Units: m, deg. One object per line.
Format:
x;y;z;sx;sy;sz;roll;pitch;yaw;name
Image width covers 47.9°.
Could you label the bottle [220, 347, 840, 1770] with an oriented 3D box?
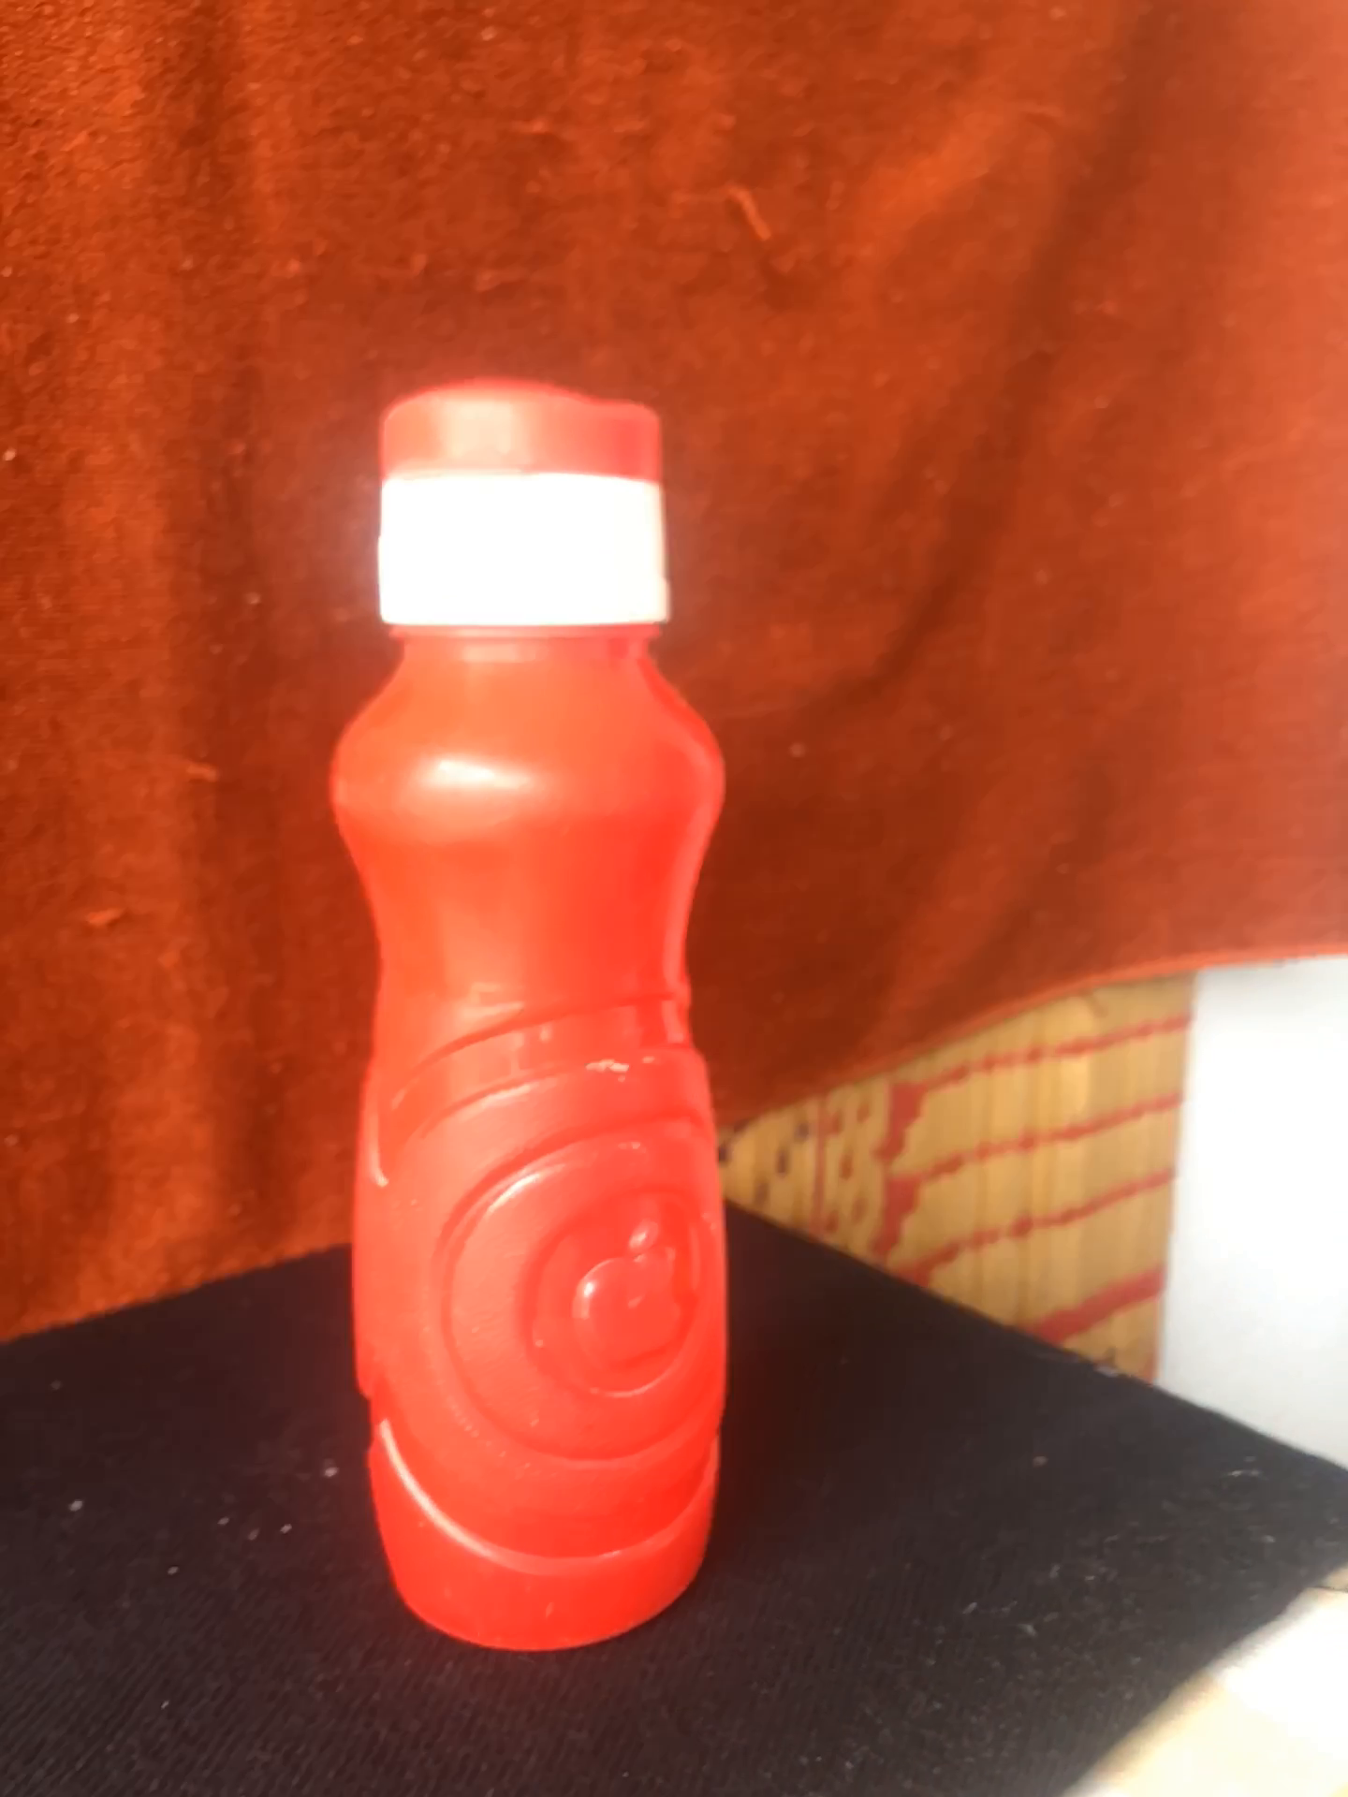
-0.031;0.024;0.274;0.080;0.219;0.070;-4;14;-31;bottle
